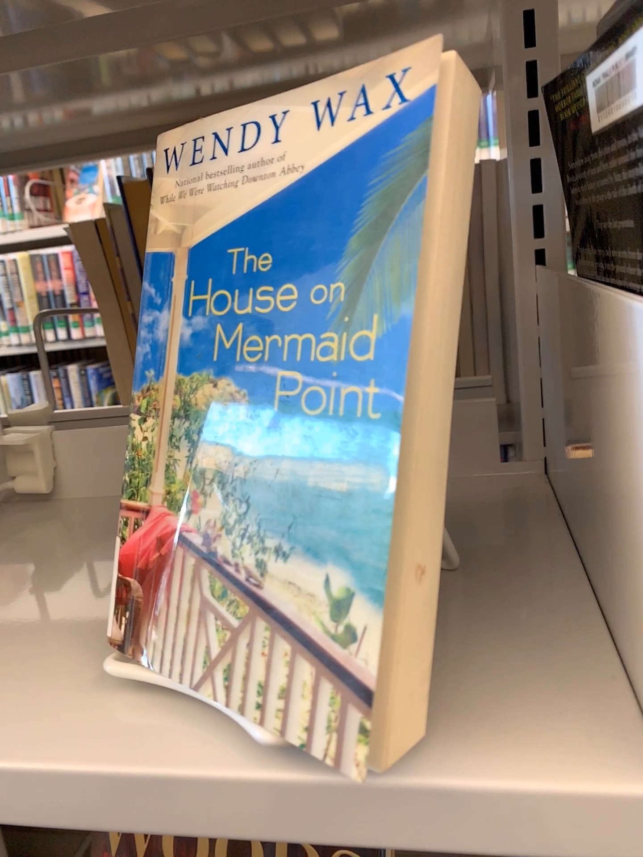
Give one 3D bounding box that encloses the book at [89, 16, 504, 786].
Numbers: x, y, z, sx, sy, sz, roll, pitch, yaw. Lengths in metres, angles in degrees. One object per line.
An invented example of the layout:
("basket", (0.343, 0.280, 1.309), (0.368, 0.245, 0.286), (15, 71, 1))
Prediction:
("book", (-0.017, -0.011, 0.226), (0.131, 0.193, 0.043), (4, -1, 42))
